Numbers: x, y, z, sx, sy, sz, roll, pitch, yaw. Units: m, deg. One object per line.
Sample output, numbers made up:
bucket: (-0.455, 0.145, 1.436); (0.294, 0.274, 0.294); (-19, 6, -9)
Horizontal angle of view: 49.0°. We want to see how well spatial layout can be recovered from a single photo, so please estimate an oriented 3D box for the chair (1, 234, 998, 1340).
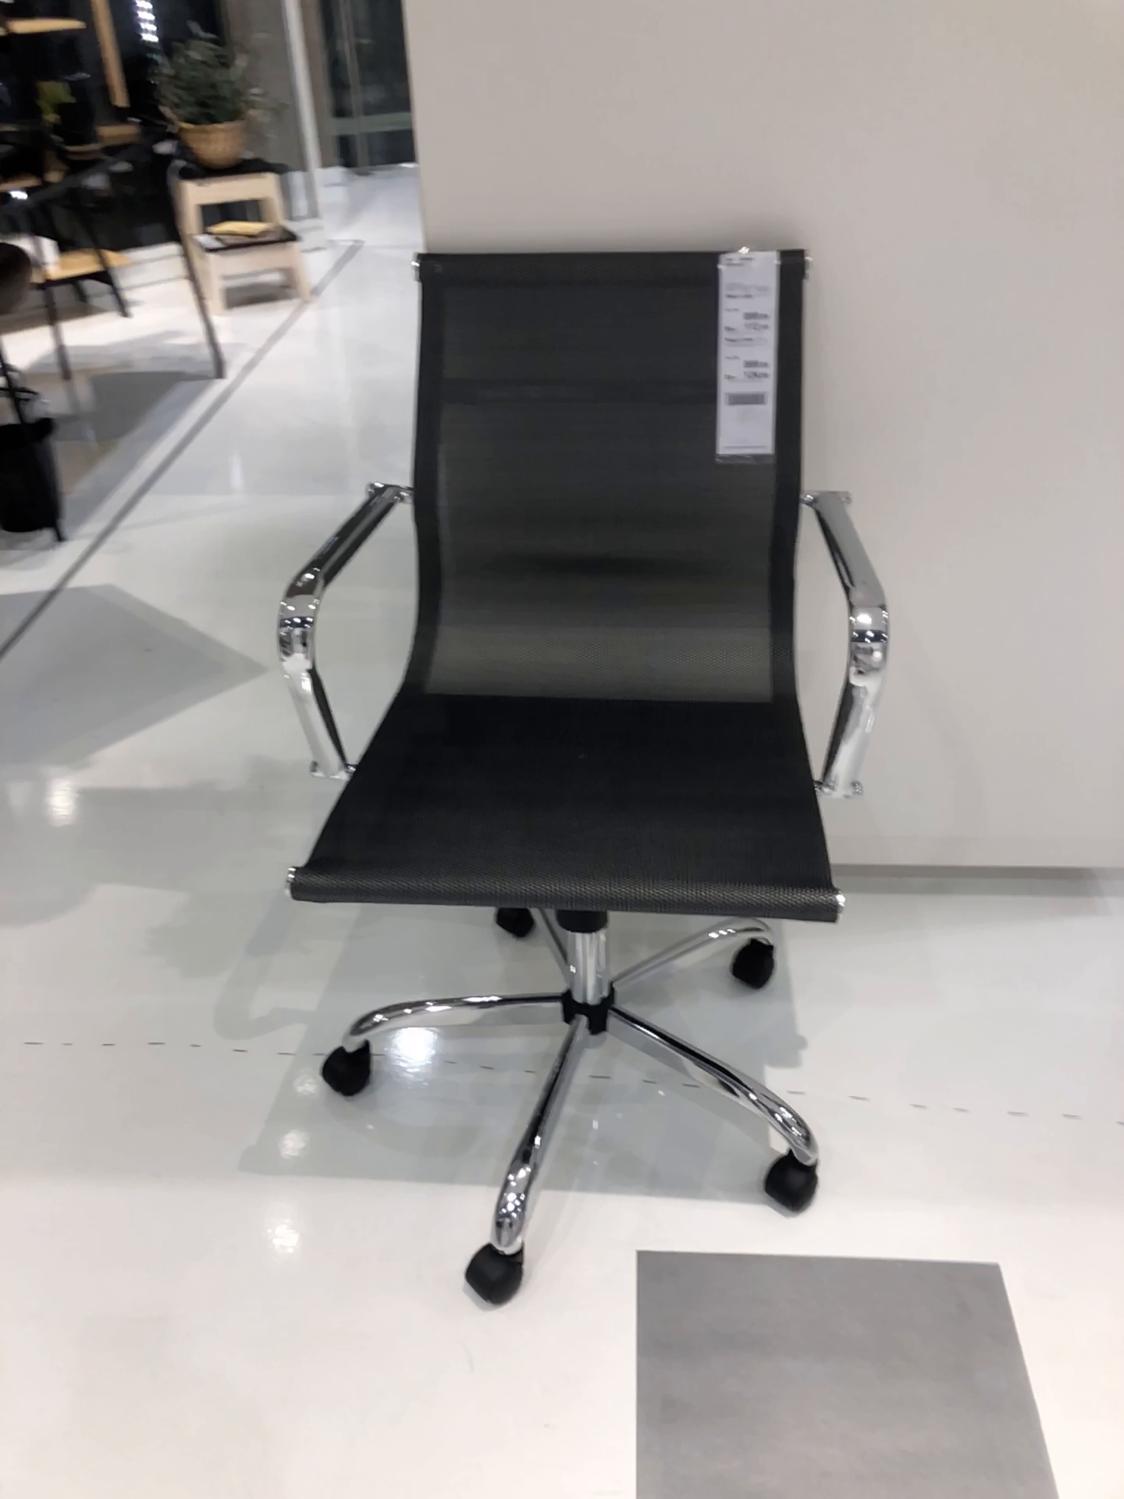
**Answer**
chair: (-0.003, 0.022, 1.278); (0.620, 0.903, 0.655); (1, 34, 6)
